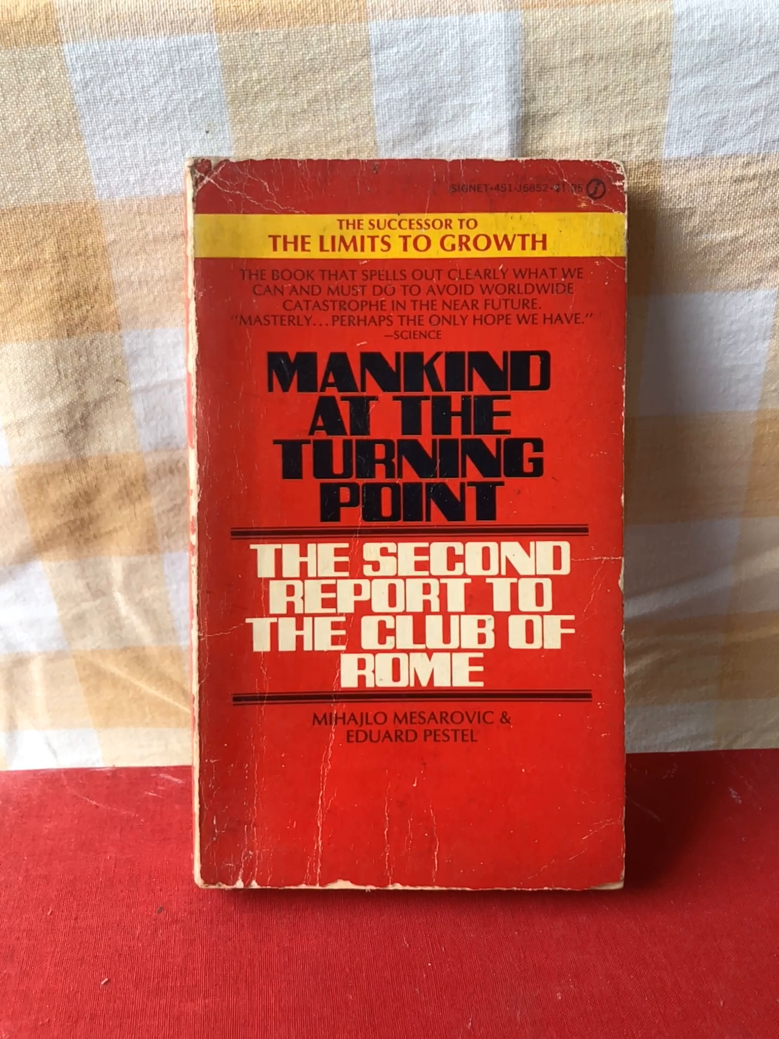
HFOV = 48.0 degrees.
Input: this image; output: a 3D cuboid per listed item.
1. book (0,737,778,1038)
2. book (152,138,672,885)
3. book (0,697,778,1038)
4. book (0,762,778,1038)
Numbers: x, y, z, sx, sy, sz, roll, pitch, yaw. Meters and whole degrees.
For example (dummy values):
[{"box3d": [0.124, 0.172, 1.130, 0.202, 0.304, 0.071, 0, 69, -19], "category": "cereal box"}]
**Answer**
[{"box3d": [-0.003, 0.154, 0.240, 0.270, 0.040, 0.191, -4, 34, 2], "category": "book"}, {"box3d": [0.005, 0.000, 0.218, 0.110, 0.170, 0.040, 0, 9, 0], "category": "book"}, {"box3d": [0.001, 0.141, 0.243, 0.280, 0.040, 0.191, -4, 34, 2], "category": "book"}, {"box3d": [0.000, 0.158, 0.227, 0.240, 0.040, 0.191, -4, 34, 2], "category": "book"}]
